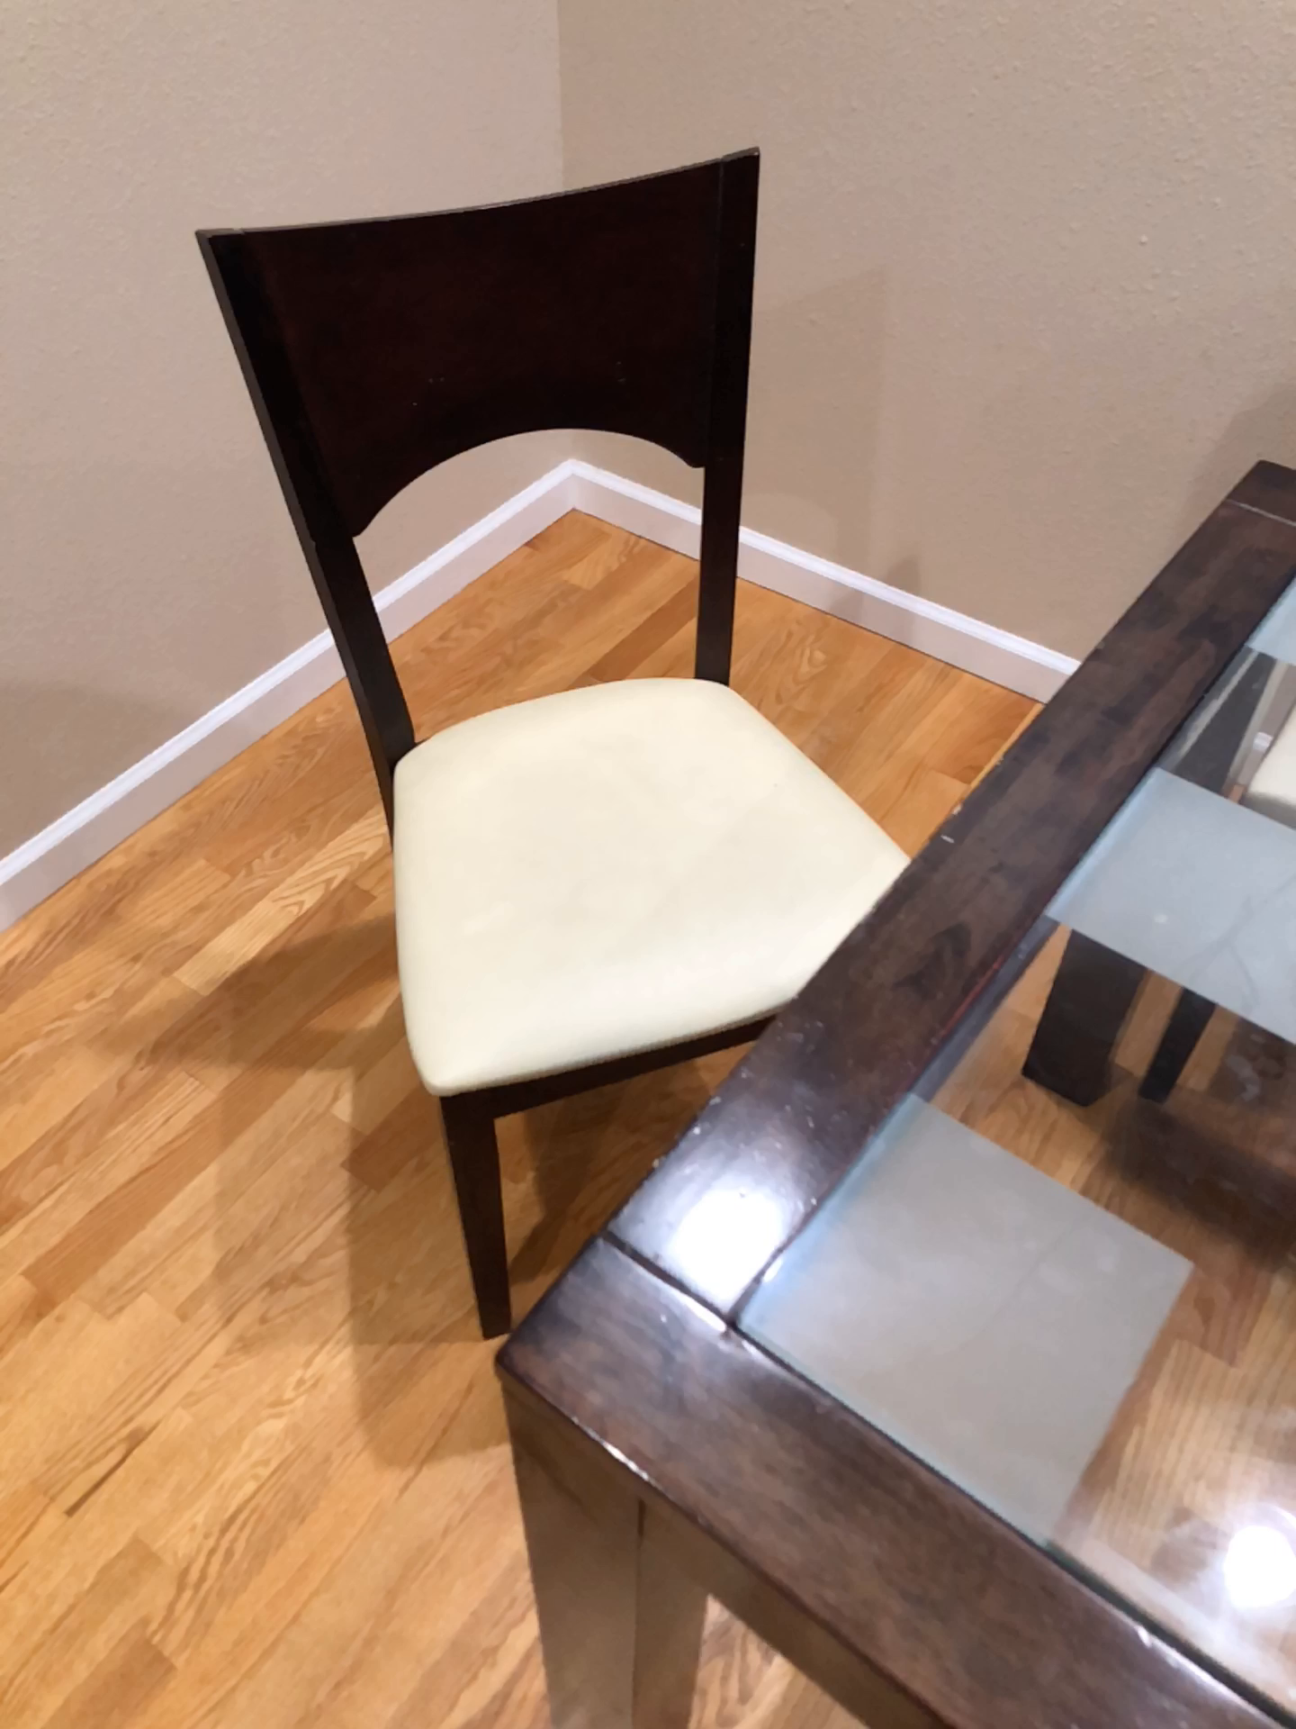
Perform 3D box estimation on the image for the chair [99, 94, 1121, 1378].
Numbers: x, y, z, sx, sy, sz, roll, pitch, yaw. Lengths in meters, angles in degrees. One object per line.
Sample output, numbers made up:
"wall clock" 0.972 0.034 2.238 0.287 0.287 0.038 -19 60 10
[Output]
"chair" -0.070 -0.066 1.235 0.520 0.905 0.533 -13 49 -13
